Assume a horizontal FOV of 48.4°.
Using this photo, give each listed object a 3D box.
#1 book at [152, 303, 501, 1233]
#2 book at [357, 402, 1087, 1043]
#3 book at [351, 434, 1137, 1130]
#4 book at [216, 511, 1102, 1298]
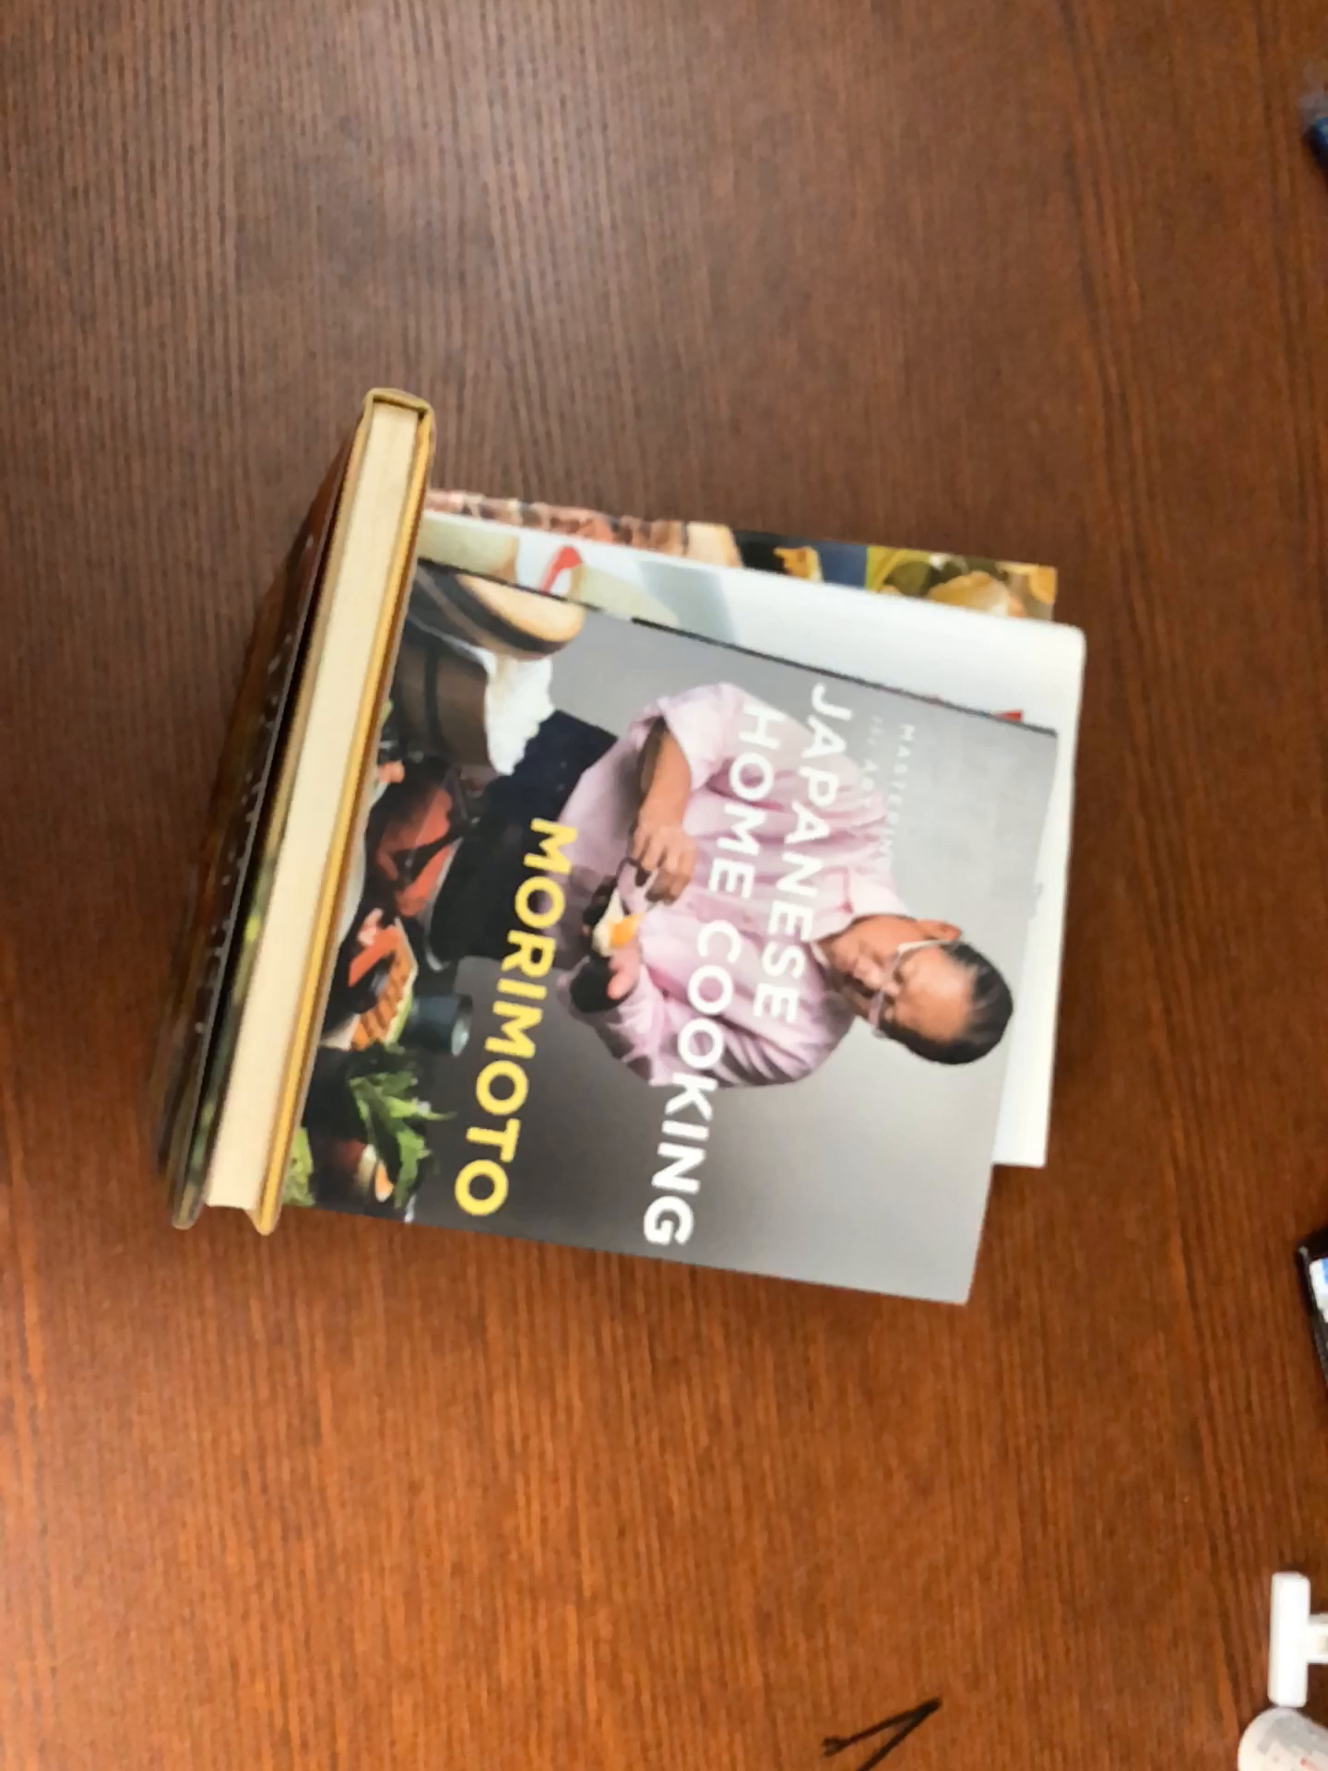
[{"bbox_3d":[-0.109,-0.025,0.433,0.030,0.210,0.210,14,83,-18],"label":"book"},{"bbox_3d":[0.031,-0.054,0.572,0.280,0.030,0.220,3,85,-16],"label":"book"},{"bbox_3d":[0.039,-0.029,0.544,0.280,0.030,0.220,6,84,-16],"label":"book"},{"bbox_3d":[0.009,0.014,0.515,0.280,0.030,0.220,11,83,-15],"label":"book"}]
